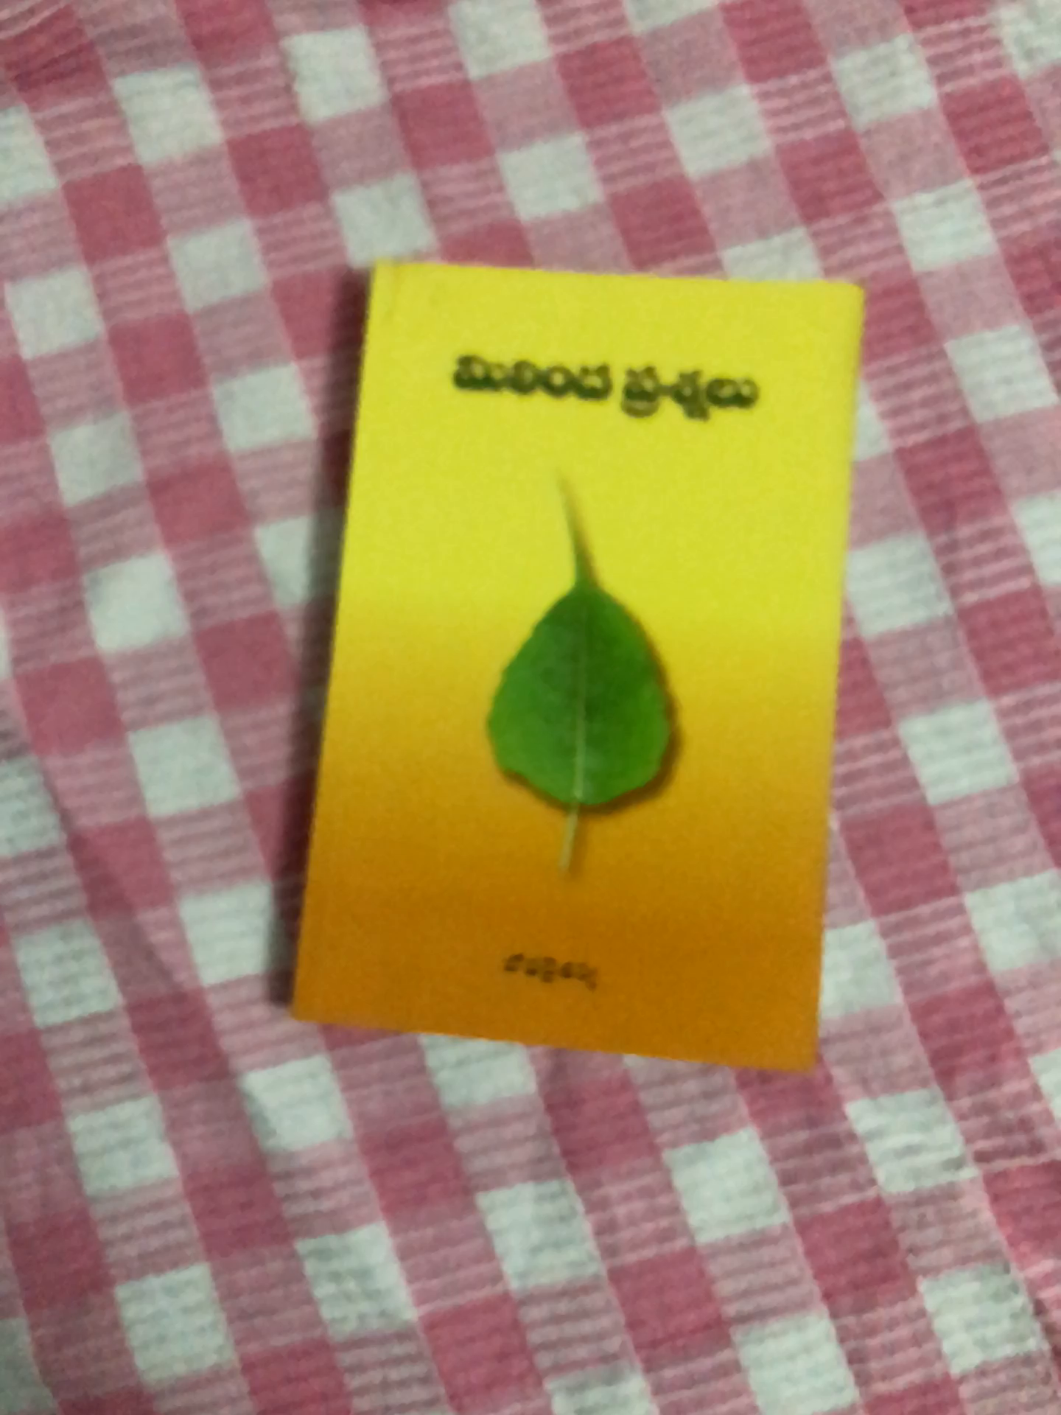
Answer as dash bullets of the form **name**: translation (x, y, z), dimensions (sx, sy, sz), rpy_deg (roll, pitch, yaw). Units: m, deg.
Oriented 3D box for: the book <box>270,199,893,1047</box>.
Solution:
- **book**: translation (0.016, -0.027, 0.331), dimensions (0.150, 0.020, 0.220), rpy_deg (4, 84, 3)
